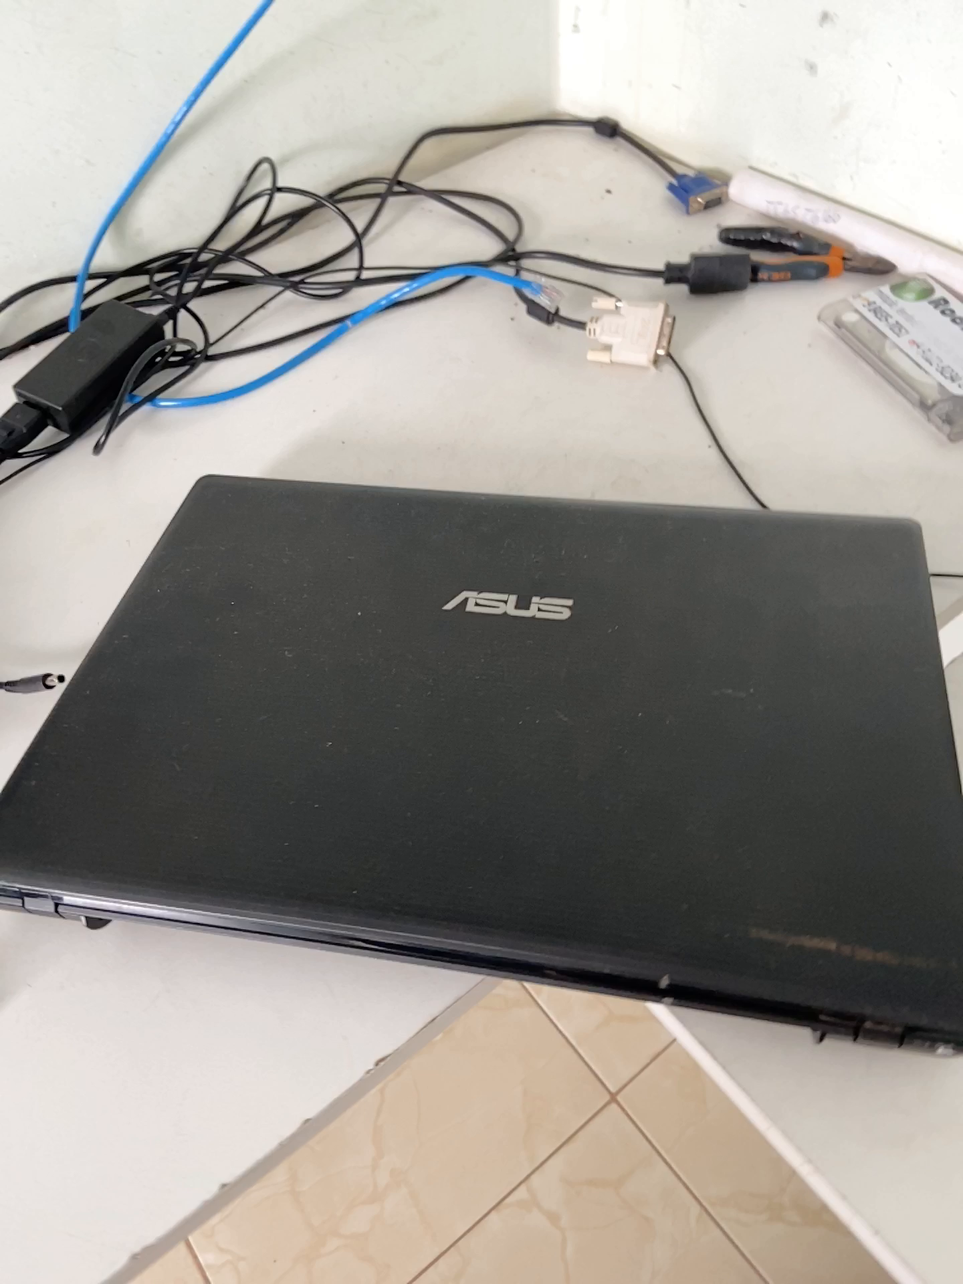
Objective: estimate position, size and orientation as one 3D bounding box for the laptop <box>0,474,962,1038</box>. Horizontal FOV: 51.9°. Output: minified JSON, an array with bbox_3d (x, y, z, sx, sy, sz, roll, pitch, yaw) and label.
[{"bbox_3d":[0.005,0.018,0.444,0.380,0.010,0.254,5,48,11],"label":"laptop"}]
